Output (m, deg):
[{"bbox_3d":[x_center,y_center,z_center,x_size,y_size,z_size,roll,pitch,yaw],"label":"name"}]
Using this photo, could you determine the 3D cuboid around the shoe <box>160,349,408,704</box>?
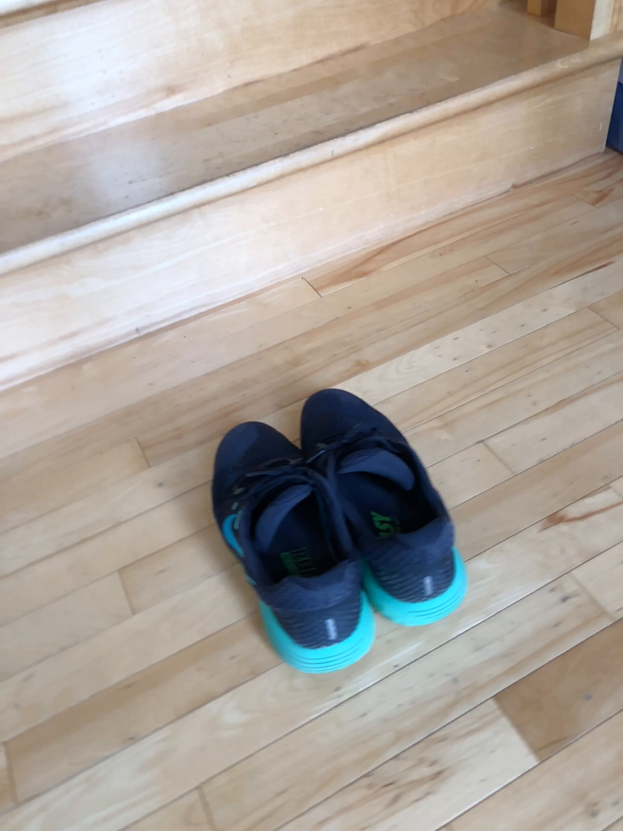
[{"bbox_3d":[-0.035,0.080,0.612,0.120,0.100,0.291,-20,46,-10],"label":"shoe"}]

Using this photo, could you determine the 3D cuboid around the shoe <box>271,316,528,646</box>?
[{"bbox_3d":[0.066,0.043,0.637,0.120,0.100,0.291,-18,45,-8],"label":"shoe"}]
